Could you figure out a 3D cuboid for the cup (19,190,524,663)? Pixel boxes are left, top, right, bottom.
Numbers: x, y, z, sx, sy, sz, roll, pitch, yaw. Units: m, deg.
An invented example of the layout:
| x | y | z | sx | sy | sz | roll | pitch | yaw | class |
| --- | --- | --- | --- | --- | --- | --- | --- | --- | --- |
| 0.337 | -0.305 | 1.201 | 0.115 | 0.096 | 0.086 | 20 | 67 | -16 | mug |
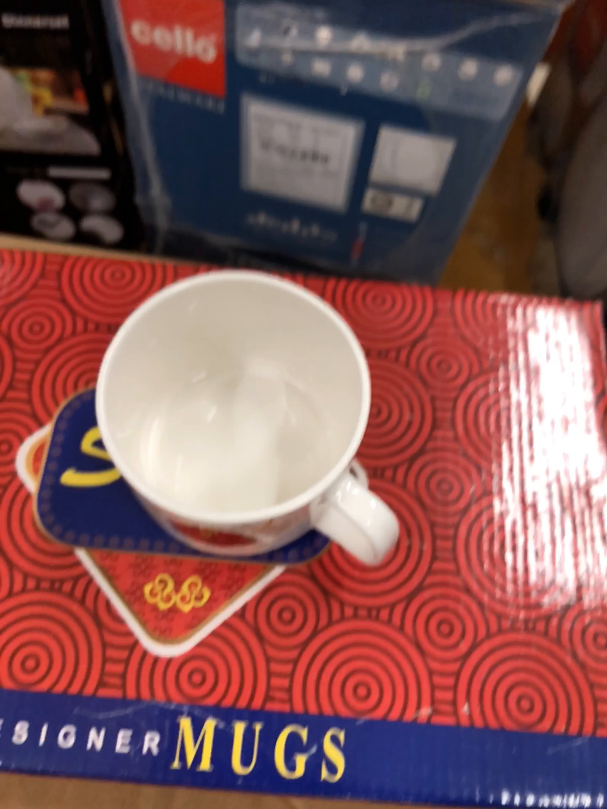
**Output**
| x | y | z | sx | sy | sz | roll | pitch | yaw | class |
| --- | --- | --- | --- | --- | --- | --- | --- | --- | --- |
| -0.008 | 0.005 | 0.197 | 0.100 | 0.050 | 0.080 | 37 | 67 | 11 | cup |
